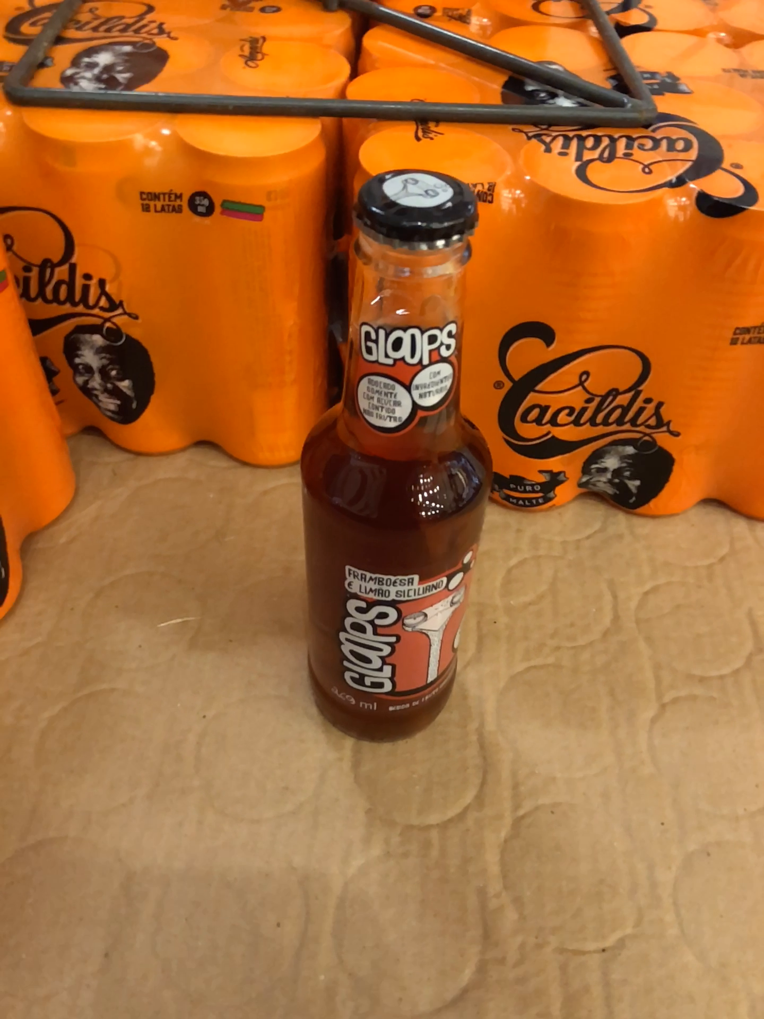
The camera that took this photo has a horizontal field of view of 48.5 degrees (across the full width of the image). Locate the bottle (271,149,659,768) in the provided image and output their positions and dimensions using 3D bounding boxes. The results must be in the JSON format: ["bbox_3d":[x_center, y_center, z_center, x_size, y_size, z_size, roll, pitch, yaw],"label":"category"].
[{"bbox_3d":[0.012,0.001,0.250,0.070,0.189,0.050,-10,48,-12],"label":"bottle"}]
